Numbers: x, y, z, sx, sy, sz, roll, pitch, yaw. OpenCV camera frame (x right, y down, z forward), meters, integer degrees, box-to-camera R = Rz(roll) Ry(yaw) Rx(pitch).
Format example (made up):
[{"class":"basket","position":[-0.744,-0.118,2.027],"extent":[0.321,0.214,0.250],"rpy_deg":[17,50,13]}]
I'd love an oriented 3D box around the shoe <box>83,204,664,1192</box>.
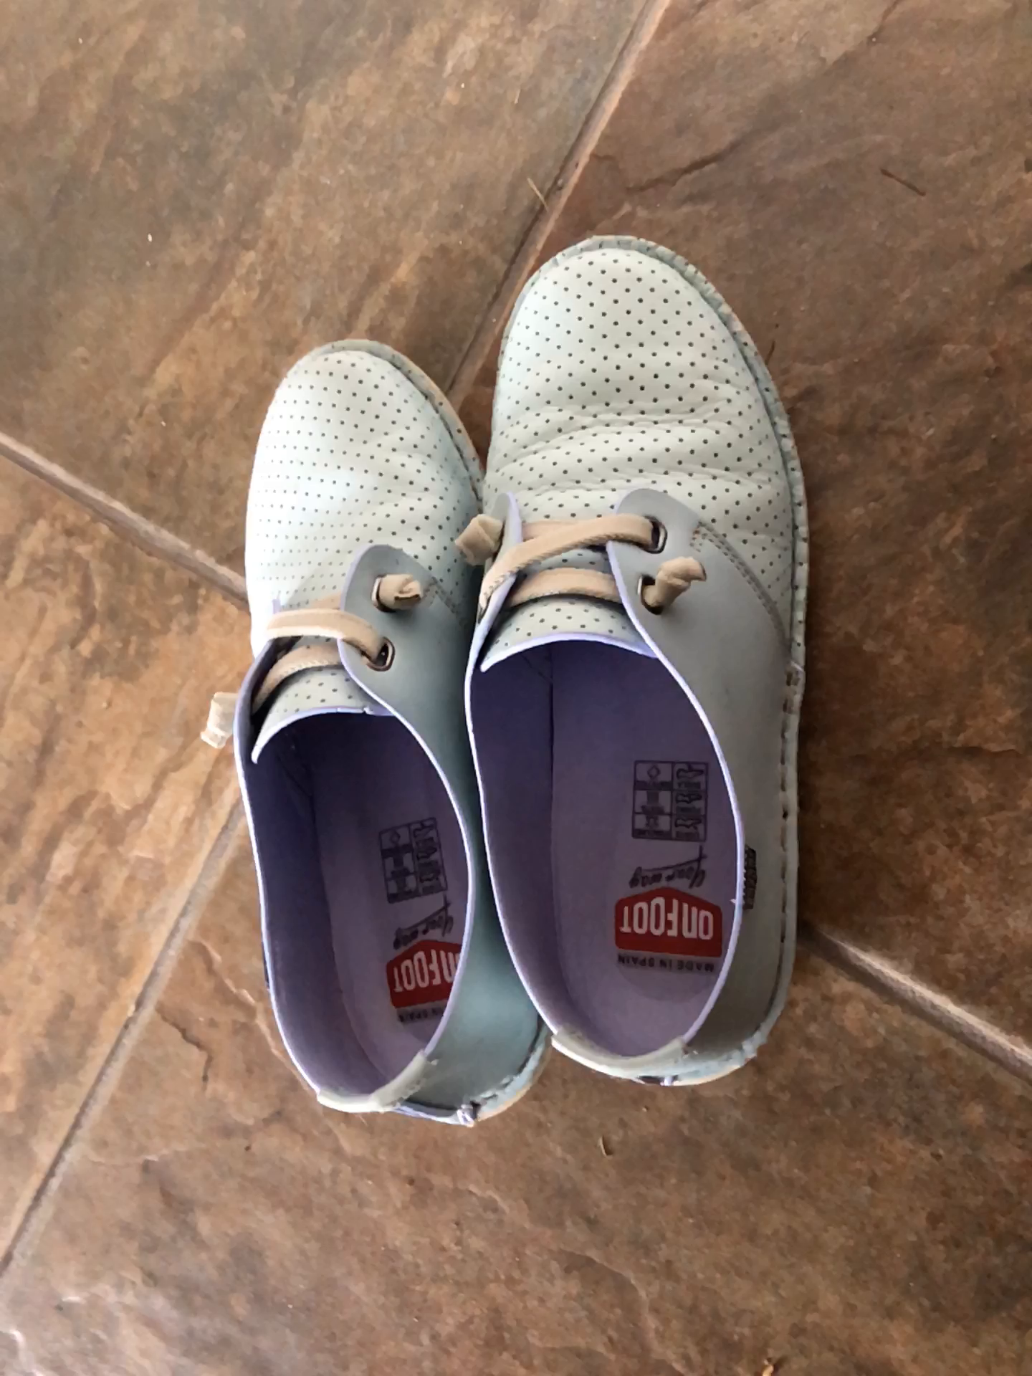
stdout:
[{"class":"shoe","position":[-0.042,0.005,0.353],"extent":[0.100,0.100,0.250],"rpy_deg":[-15,79,19]}]

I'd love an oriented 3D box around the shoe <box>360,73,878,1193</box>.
[{"class":"shoe","position":[0.031,-0.010,0.314],"extent":[0.100,0.100,0.250],"rpy_deg":[-6,83,21]}]
